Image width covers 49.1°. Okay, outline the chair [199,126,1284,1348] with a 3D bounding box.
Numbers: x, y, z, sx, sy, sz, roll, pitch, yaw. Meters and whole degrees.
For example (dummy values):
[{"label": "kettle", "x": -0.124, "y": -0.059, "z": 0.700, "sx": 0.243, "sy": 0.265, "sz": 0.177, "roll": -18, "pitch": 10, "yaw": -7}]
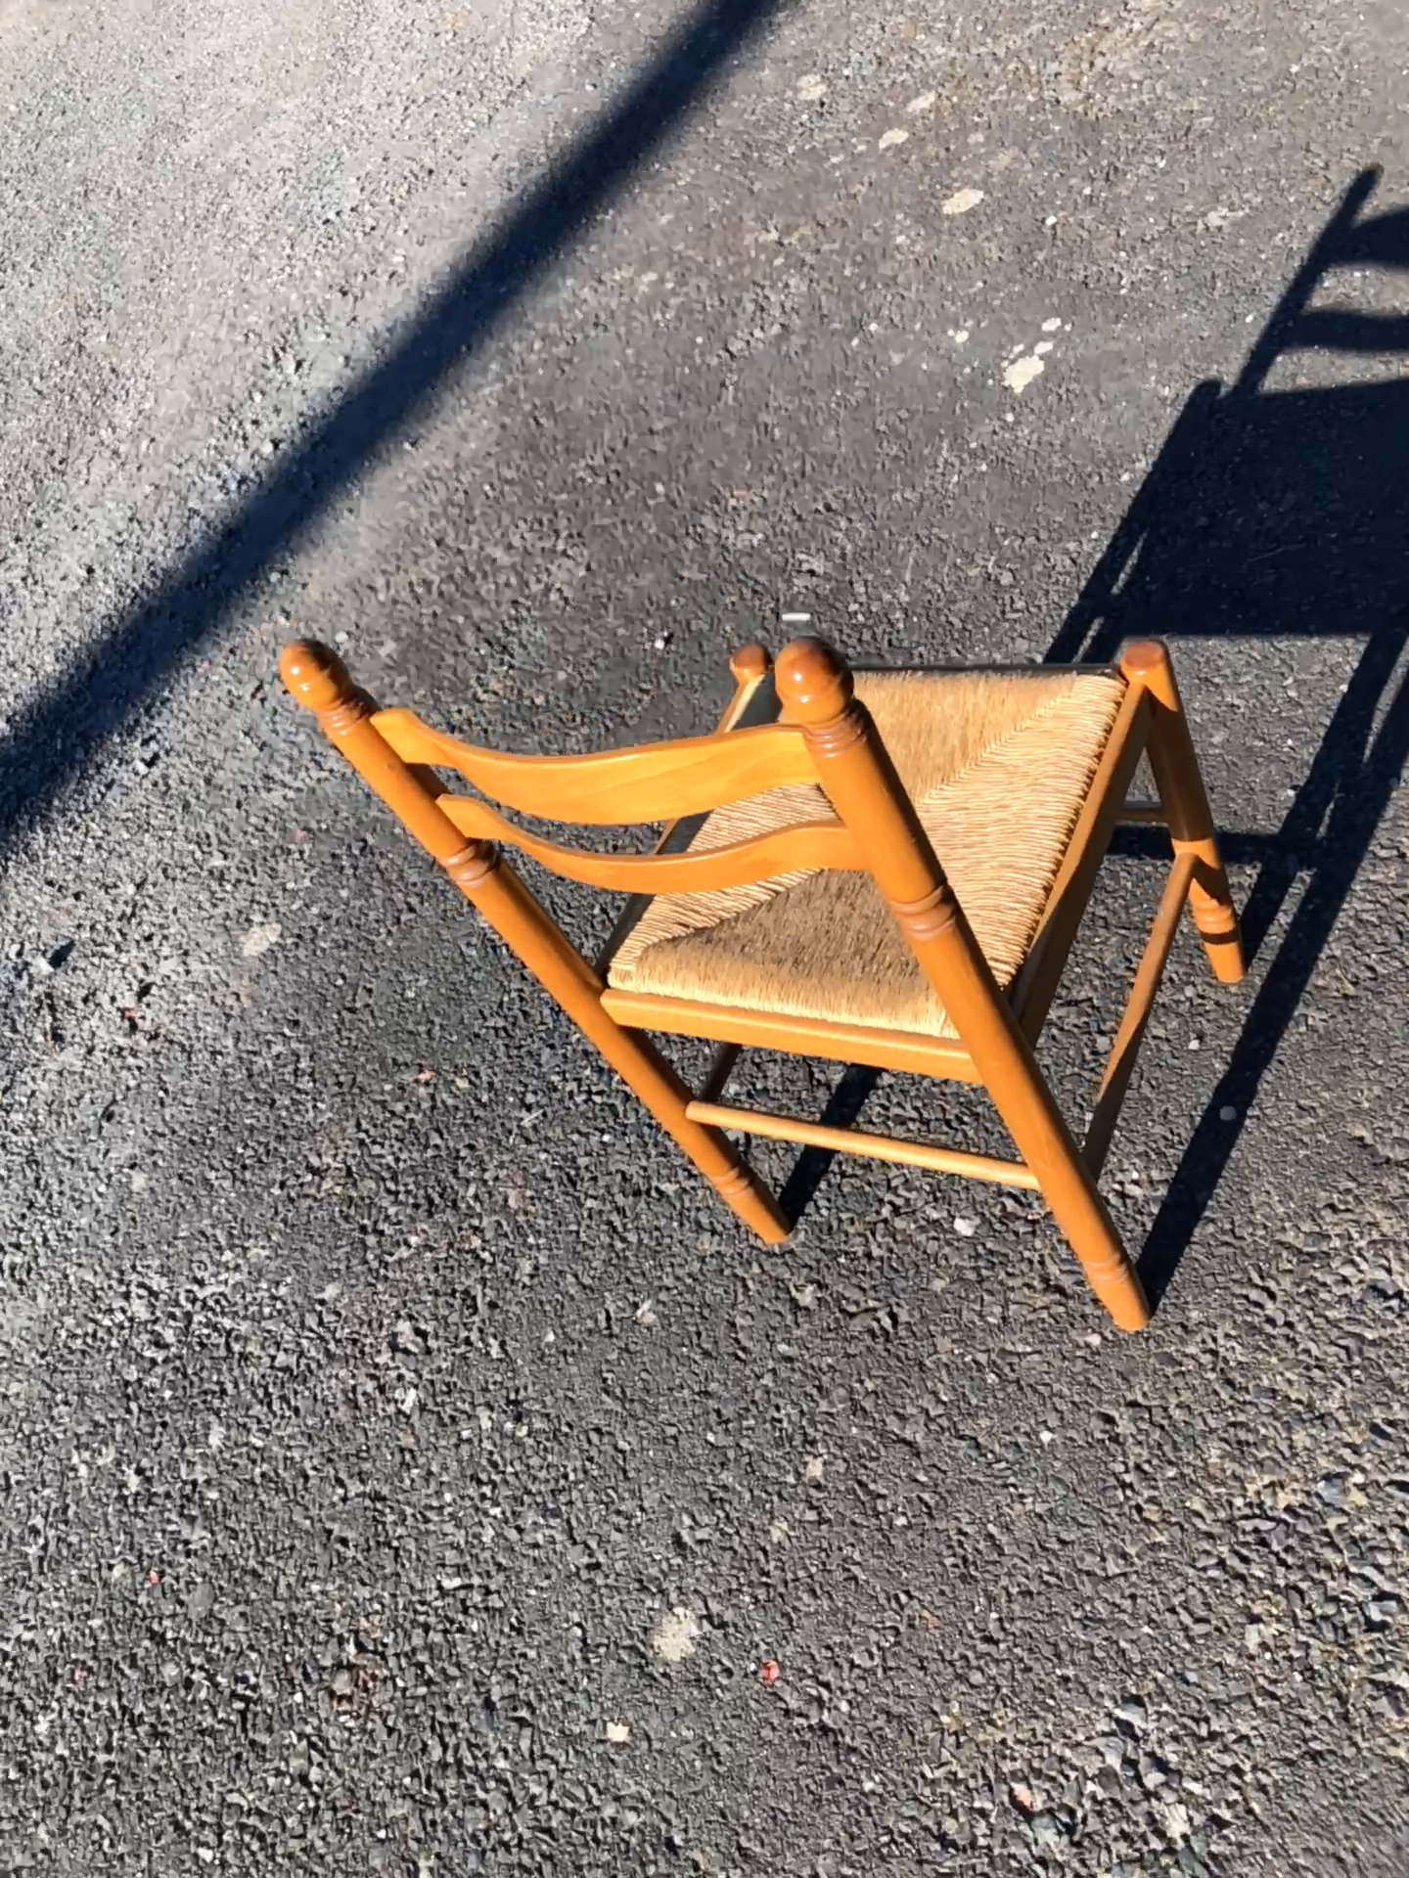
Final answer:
[{"label": "chair", "x": 0.127, "y": -0.102, "z": 1.261, "sx": 0.490, "sy": 0.797, "sz": 0.492, "roll": 7, "pitch": 59, "yaw": 31}]
